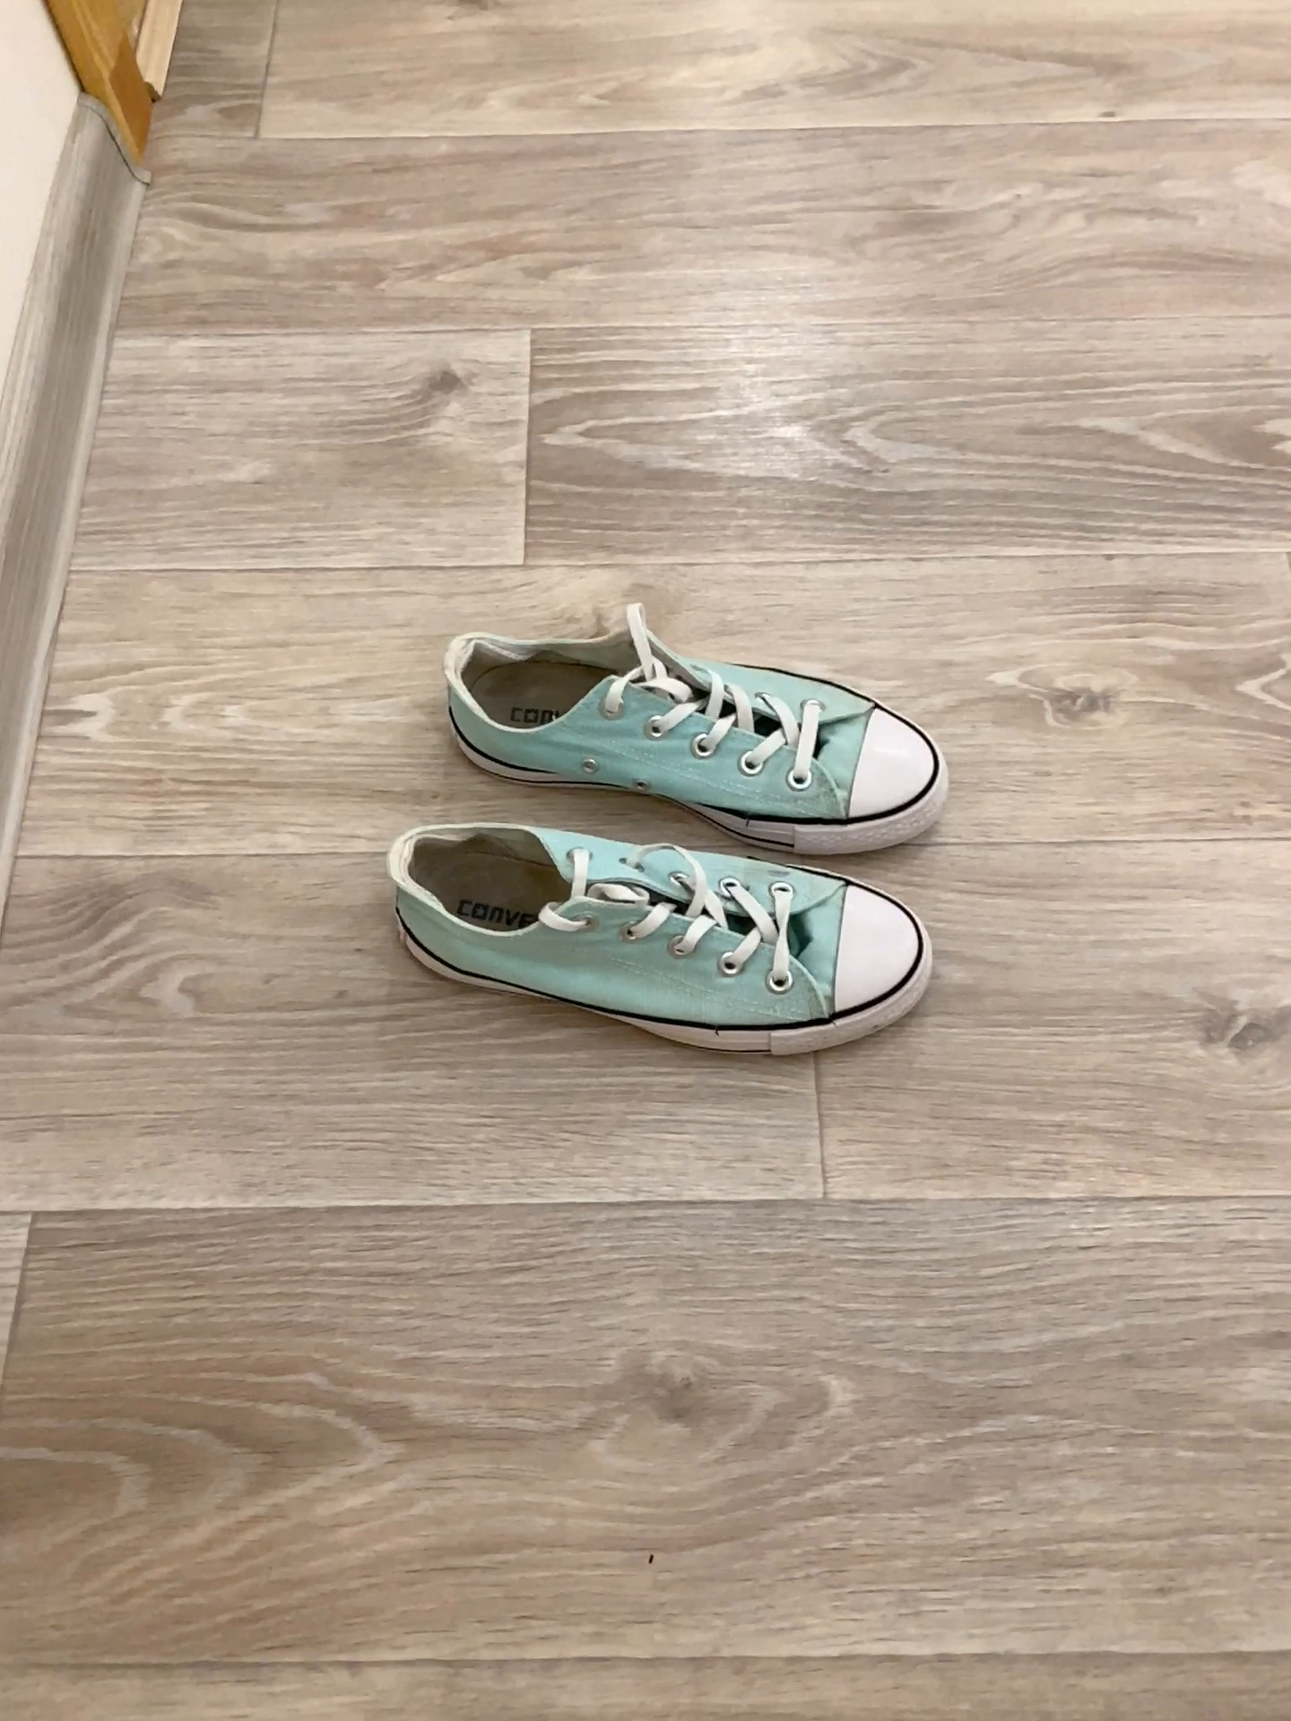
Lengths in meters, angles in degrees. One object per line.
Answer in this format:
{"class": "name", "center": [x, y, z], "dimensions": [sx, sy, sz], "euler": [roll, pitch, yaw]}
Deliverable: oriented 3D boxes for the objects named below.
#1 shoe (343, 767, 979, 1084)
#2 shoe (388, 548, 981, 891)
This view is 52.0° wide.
{"class": "shoe", "center": [0.009, 0.028, 0.568], "dimensions": [0.250, 0.060, 0.092], "euler": [6, 65, 4]}
{"class": "shoe", "center": [0.020, -0.067, 0.620], "dimensions": [0.250, 0.060, 0.100], "euler": [11, 66, 6]}
